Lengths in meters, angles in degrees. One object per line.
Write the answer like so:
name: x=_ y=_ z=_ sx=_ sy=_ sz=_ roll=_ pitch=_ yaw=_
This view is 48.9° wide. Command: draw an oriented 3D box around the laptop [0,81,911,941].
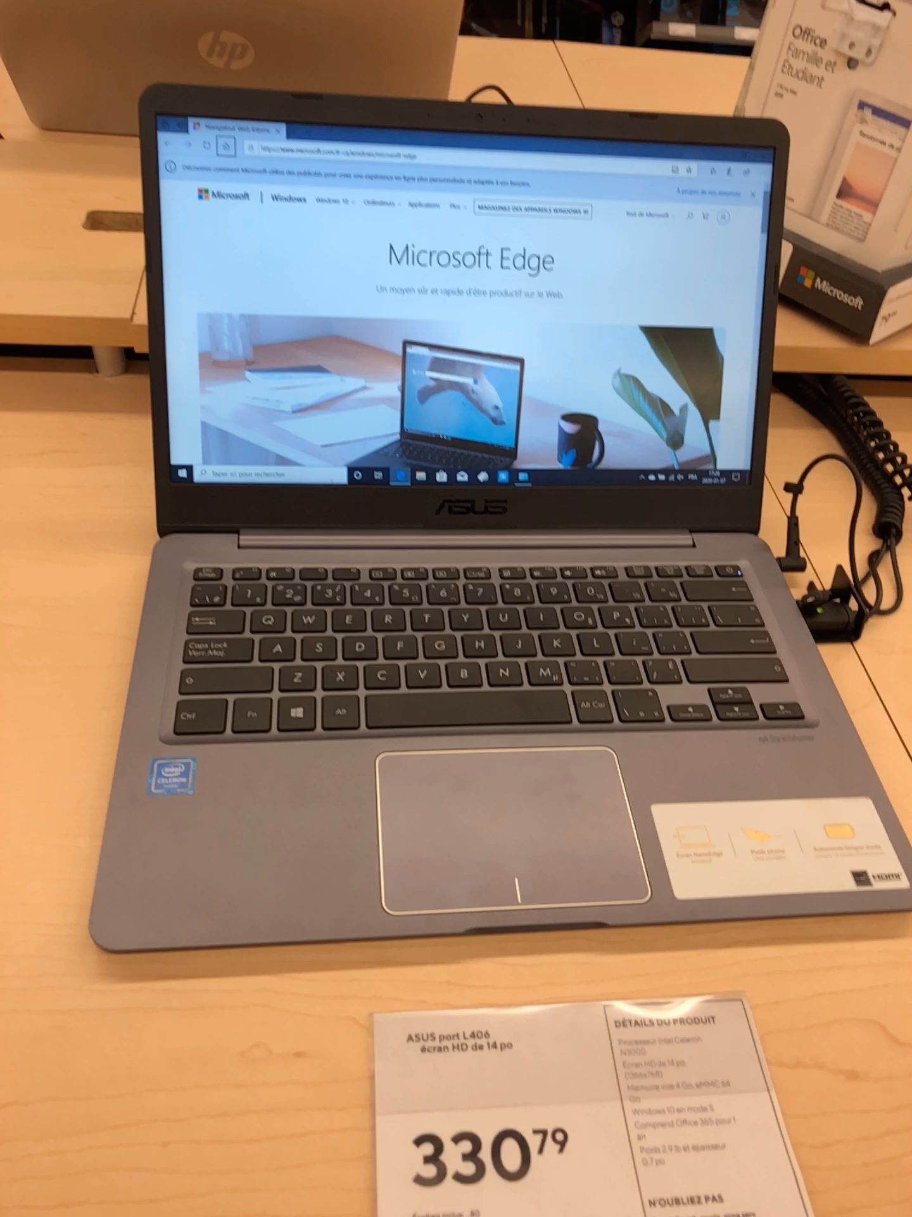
laptop: x=0.020 y=-0.063 z=0.429 sx=0.309 sy=0.173 sz=0.328 roll=0 pitch=46 yaw=-7
